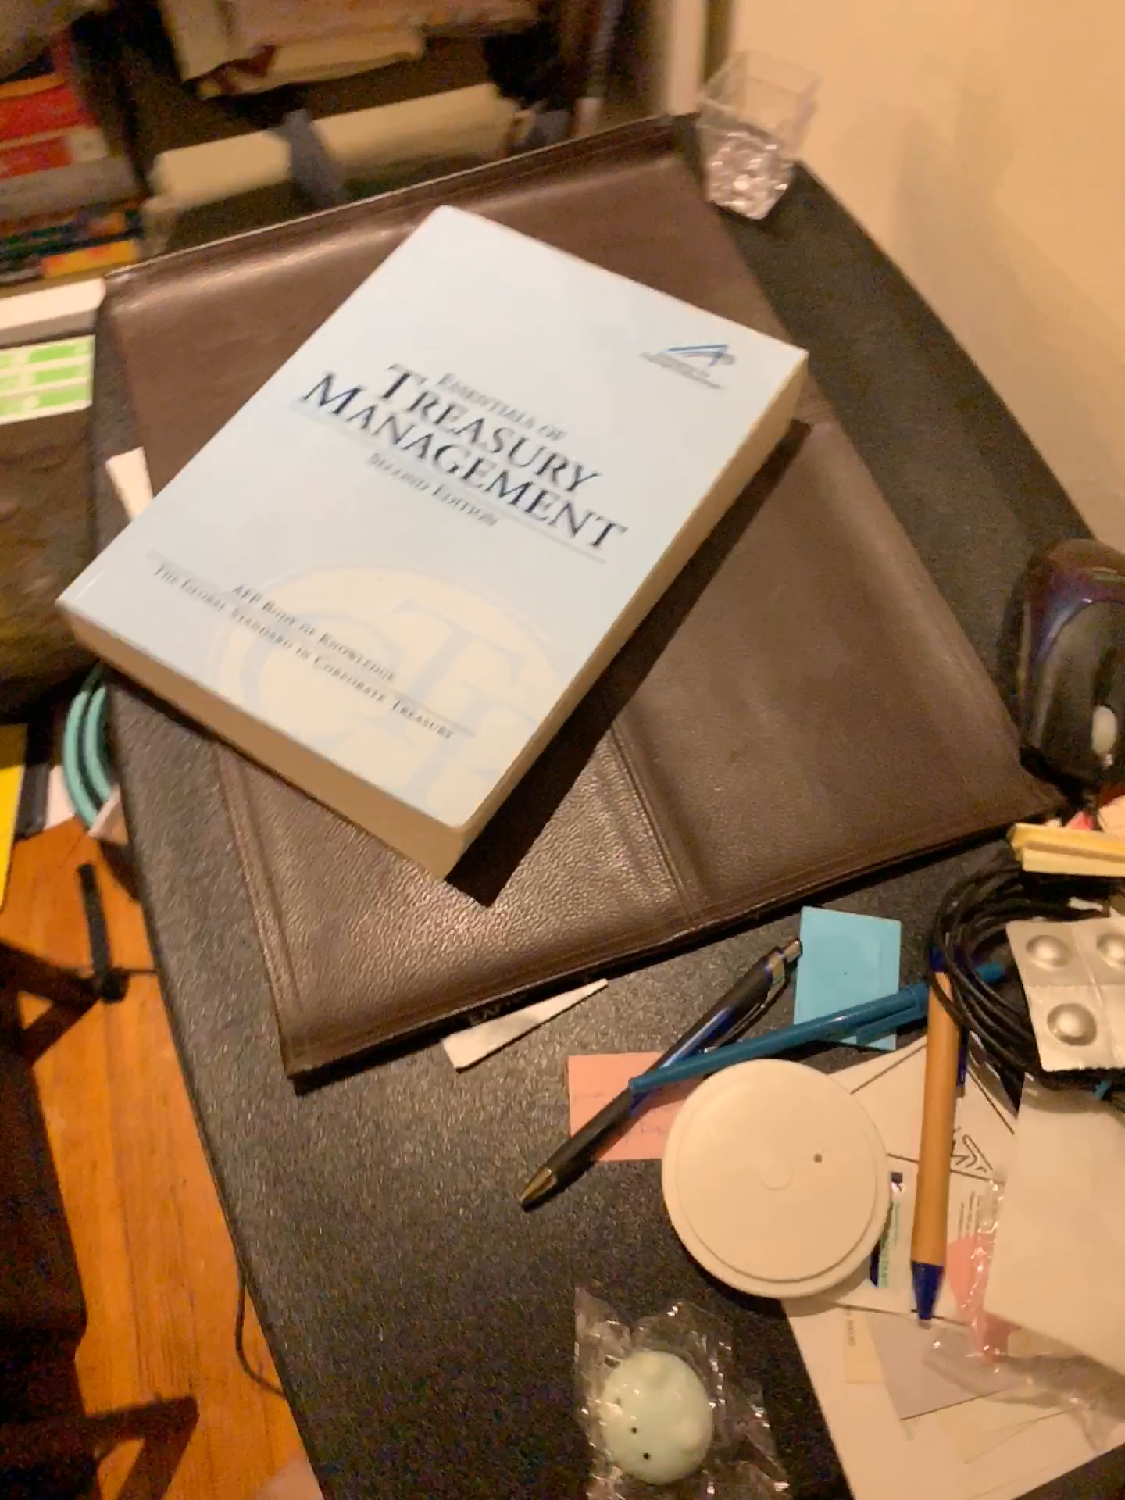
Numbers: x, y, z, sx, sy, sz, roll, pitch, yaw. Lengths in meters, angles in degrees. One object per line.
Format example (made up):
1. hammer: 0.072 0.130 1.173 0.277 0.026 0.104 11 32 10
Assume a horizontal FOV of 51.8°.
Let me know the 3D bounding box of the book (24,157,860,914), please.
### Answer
1. book: -0.042 -0.114 0.518 0.220 0.060 0.300 30 69 17
